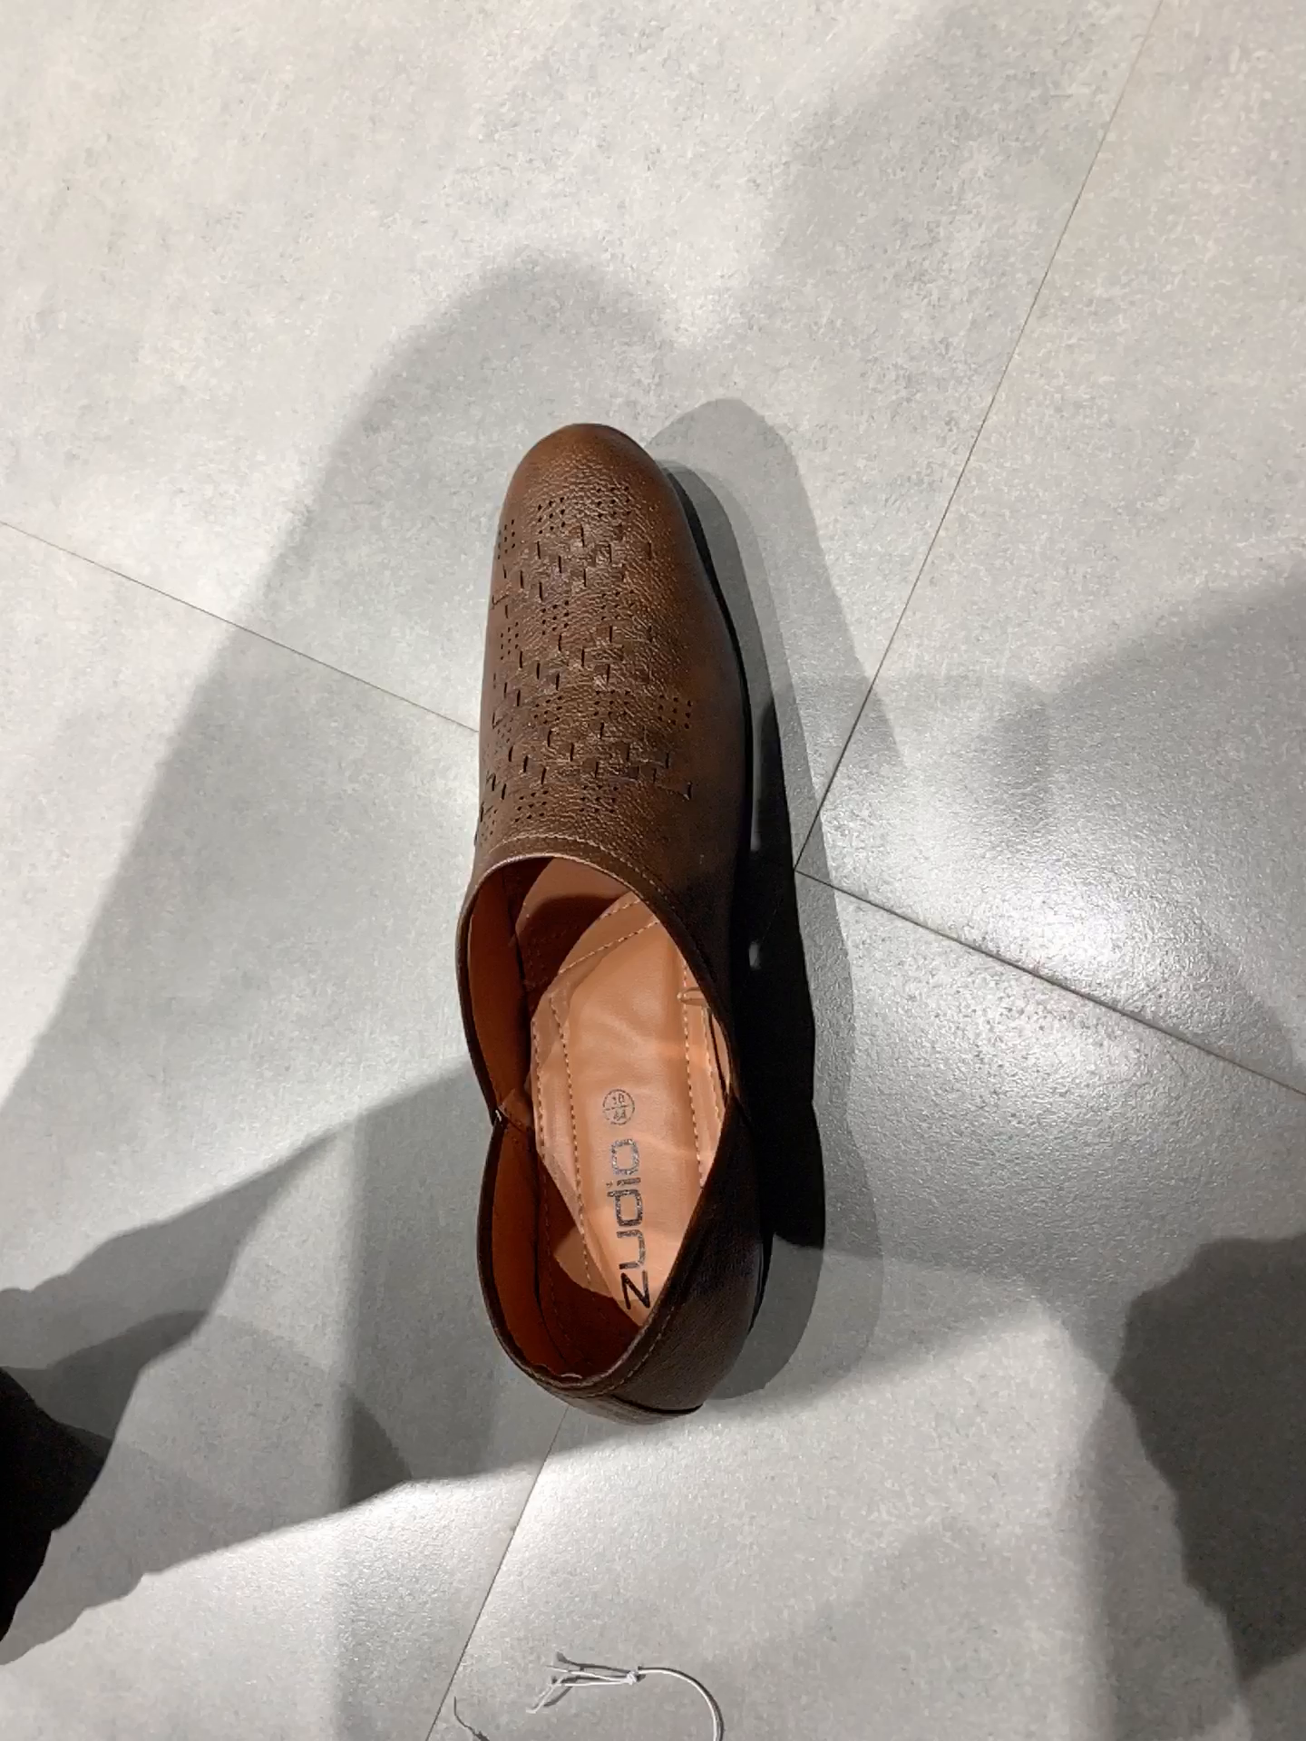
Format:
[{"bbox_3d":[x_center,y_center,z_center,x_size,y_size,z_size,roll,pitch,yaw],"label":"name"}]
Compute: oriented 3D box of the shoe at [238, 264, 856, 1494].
[{"bbox_3d":[-0.029,0.006,0.378,0.100,0.110,0.290,-12,80,24],"label":"shoe"}]
